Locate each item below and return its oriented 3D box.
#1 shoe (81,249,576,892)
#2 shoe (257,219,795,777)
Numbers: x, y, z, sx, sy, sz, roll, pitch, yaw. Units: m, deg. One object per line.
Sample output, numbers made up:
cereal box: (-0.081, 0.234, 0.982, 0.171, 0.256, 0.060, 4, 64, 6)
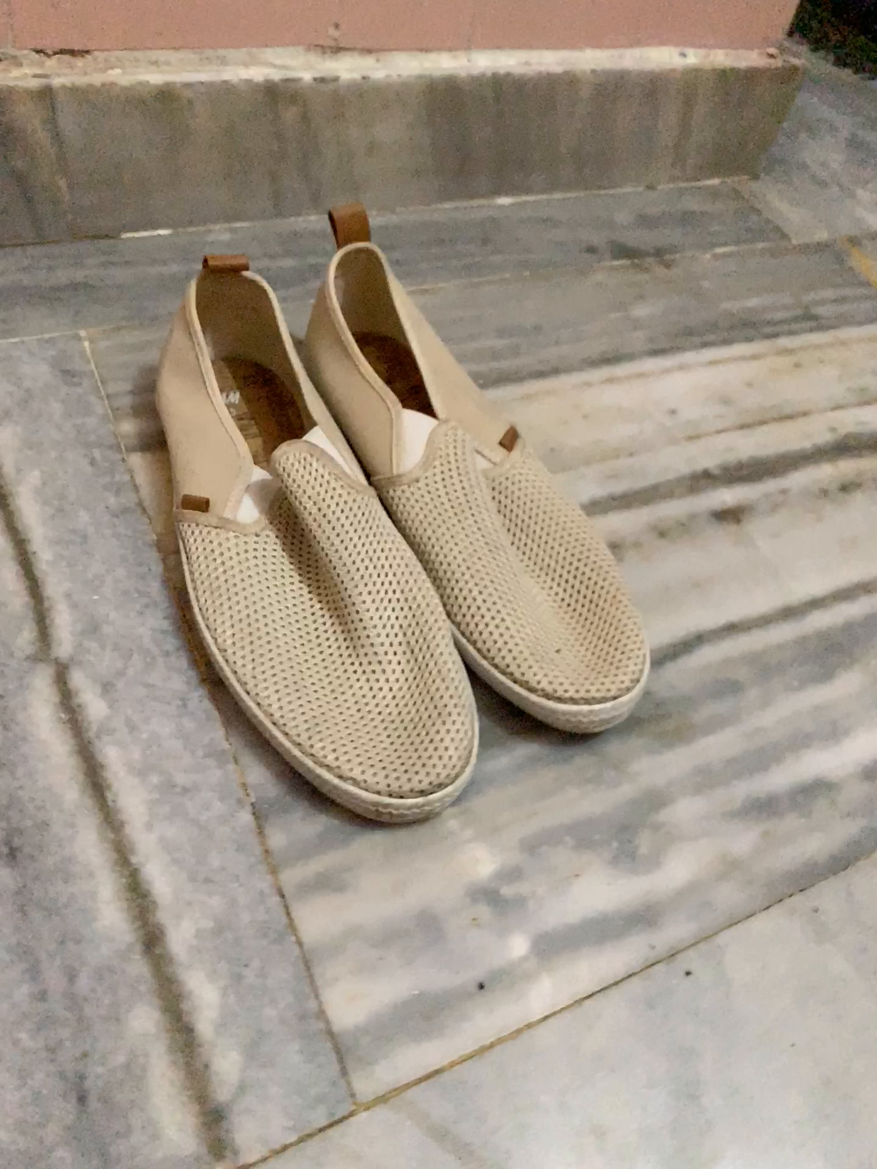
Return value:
shoe: (-0.071, -0.034, 0.426, 0.116, 0.080, 0.310, -14, 54, -22)
shoe: (0.020, -0.068, 0.472, 0.116, 0.080, 0.310, -19, 56, -25)
